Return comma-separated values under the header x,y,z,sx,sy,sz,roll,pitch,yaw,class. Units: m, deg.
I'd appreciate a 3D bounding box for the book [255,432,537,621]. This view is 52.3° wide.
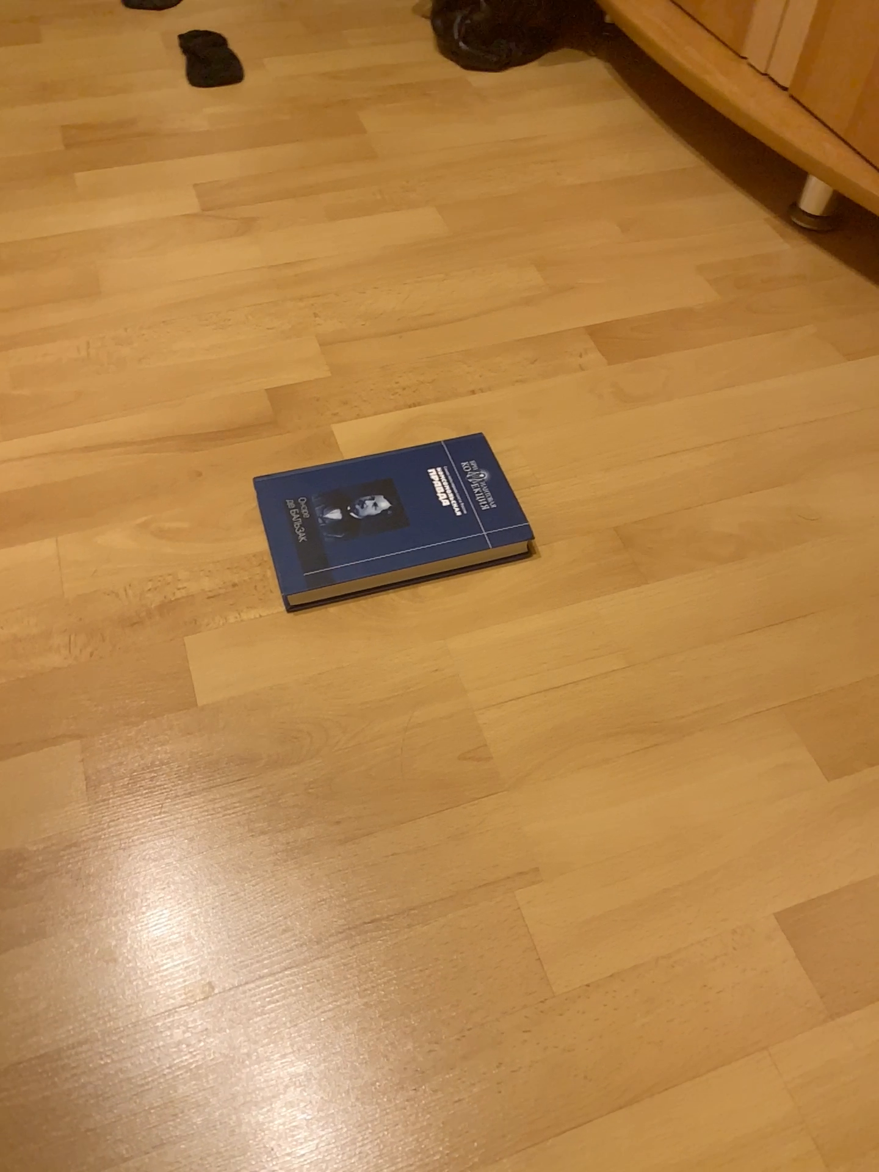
x,y,z,sx,sy,sz,roll,pitch,yaw,class
-0.038,-0.054,0.734,0.200,0.030,0.129,-13,53,-11,book
